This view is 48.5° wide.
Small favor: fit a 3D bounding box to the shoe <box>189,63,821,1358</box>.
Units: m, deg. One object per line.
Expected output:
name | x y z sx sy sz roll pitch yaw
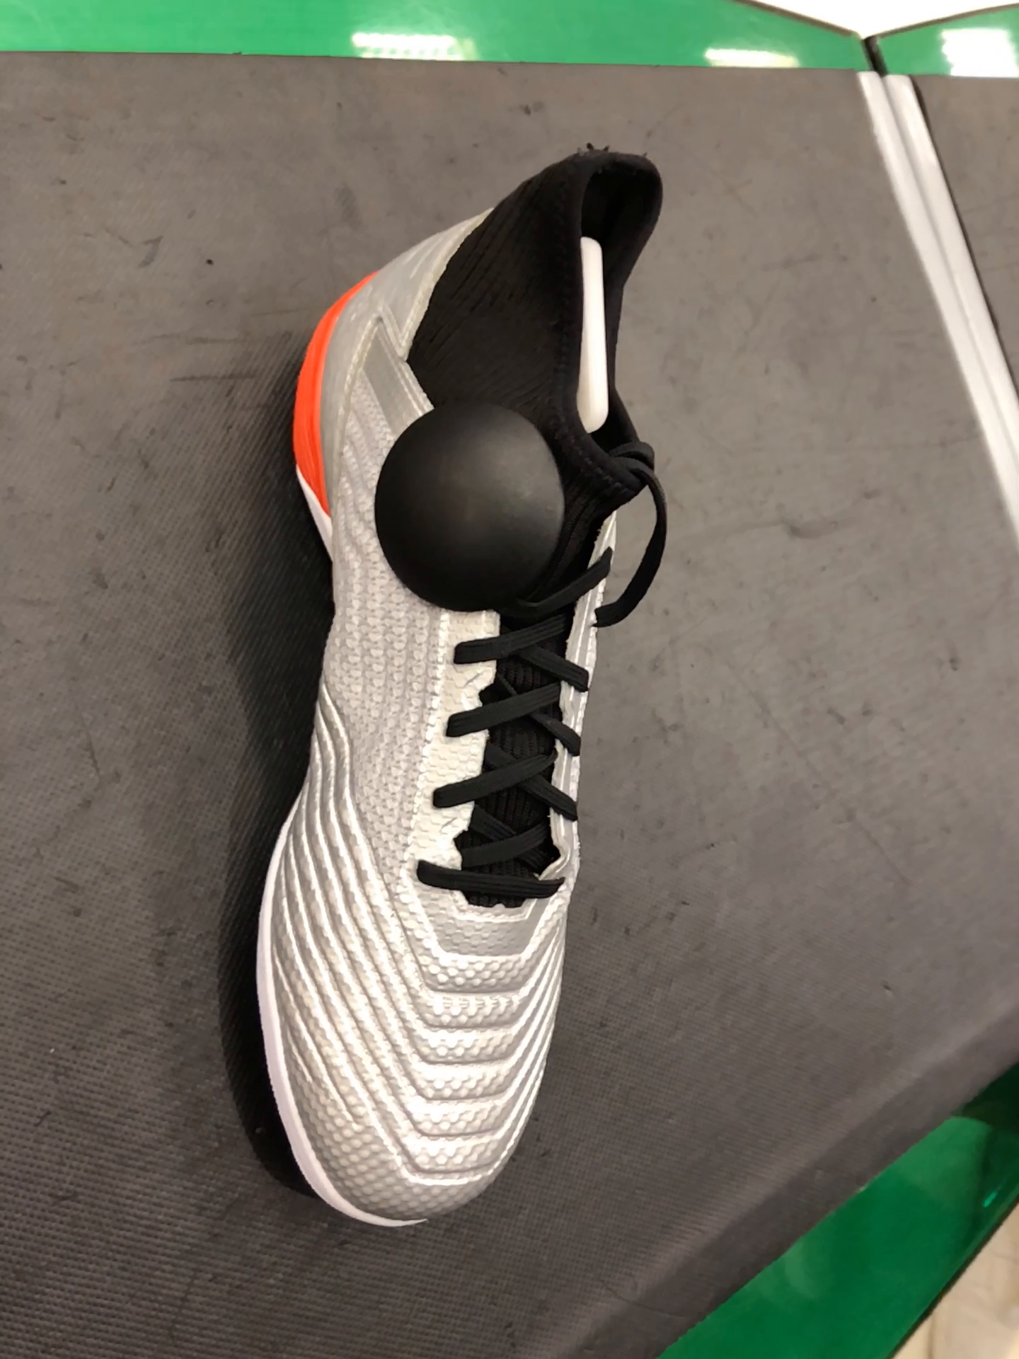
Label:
shoe | -0.010 0.009 0.294 0.090 0.139 0.250 7 76 -31
